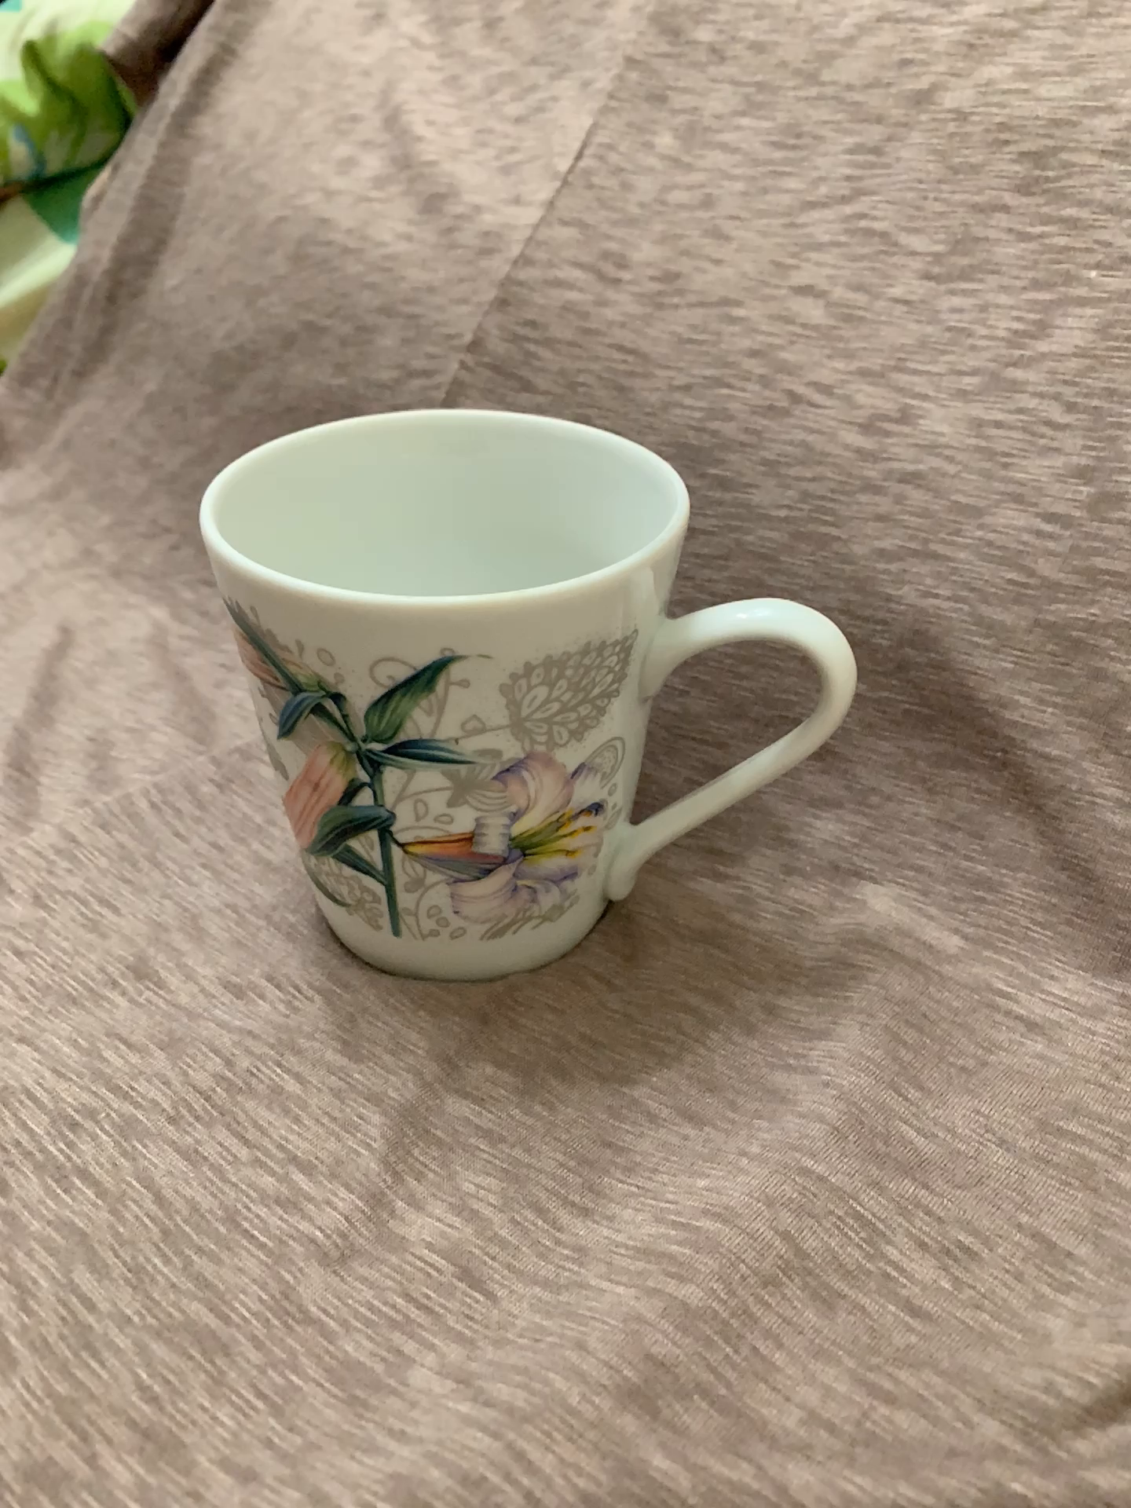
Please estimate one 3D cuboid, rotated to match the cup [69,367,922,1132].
[{"bbox_3d":[-0.010,-0.012,0.225,0.119,0.088,0.084,17,38,29],"label":"cup"}]
